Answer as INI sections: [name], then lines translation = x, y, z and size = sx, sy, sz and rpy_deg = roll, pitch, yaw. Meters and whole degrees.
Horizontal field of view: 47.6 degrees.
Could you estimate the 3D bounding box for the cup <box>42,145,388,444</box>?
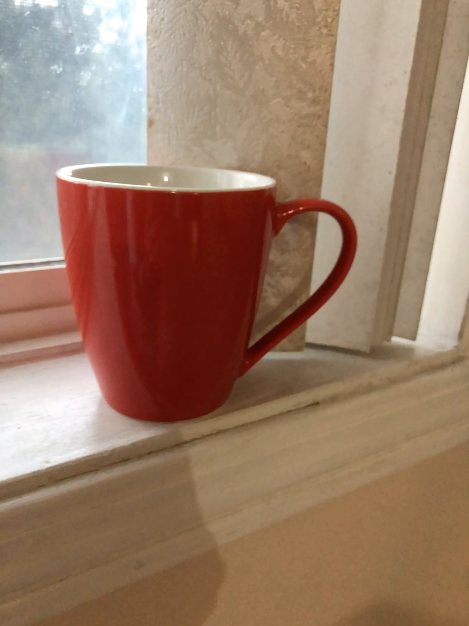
[cup]
translation = -0.014, -0.017, 0.216
size = 0.110, 0.090, 0.080
rpy_deg = -5, 21, -23
